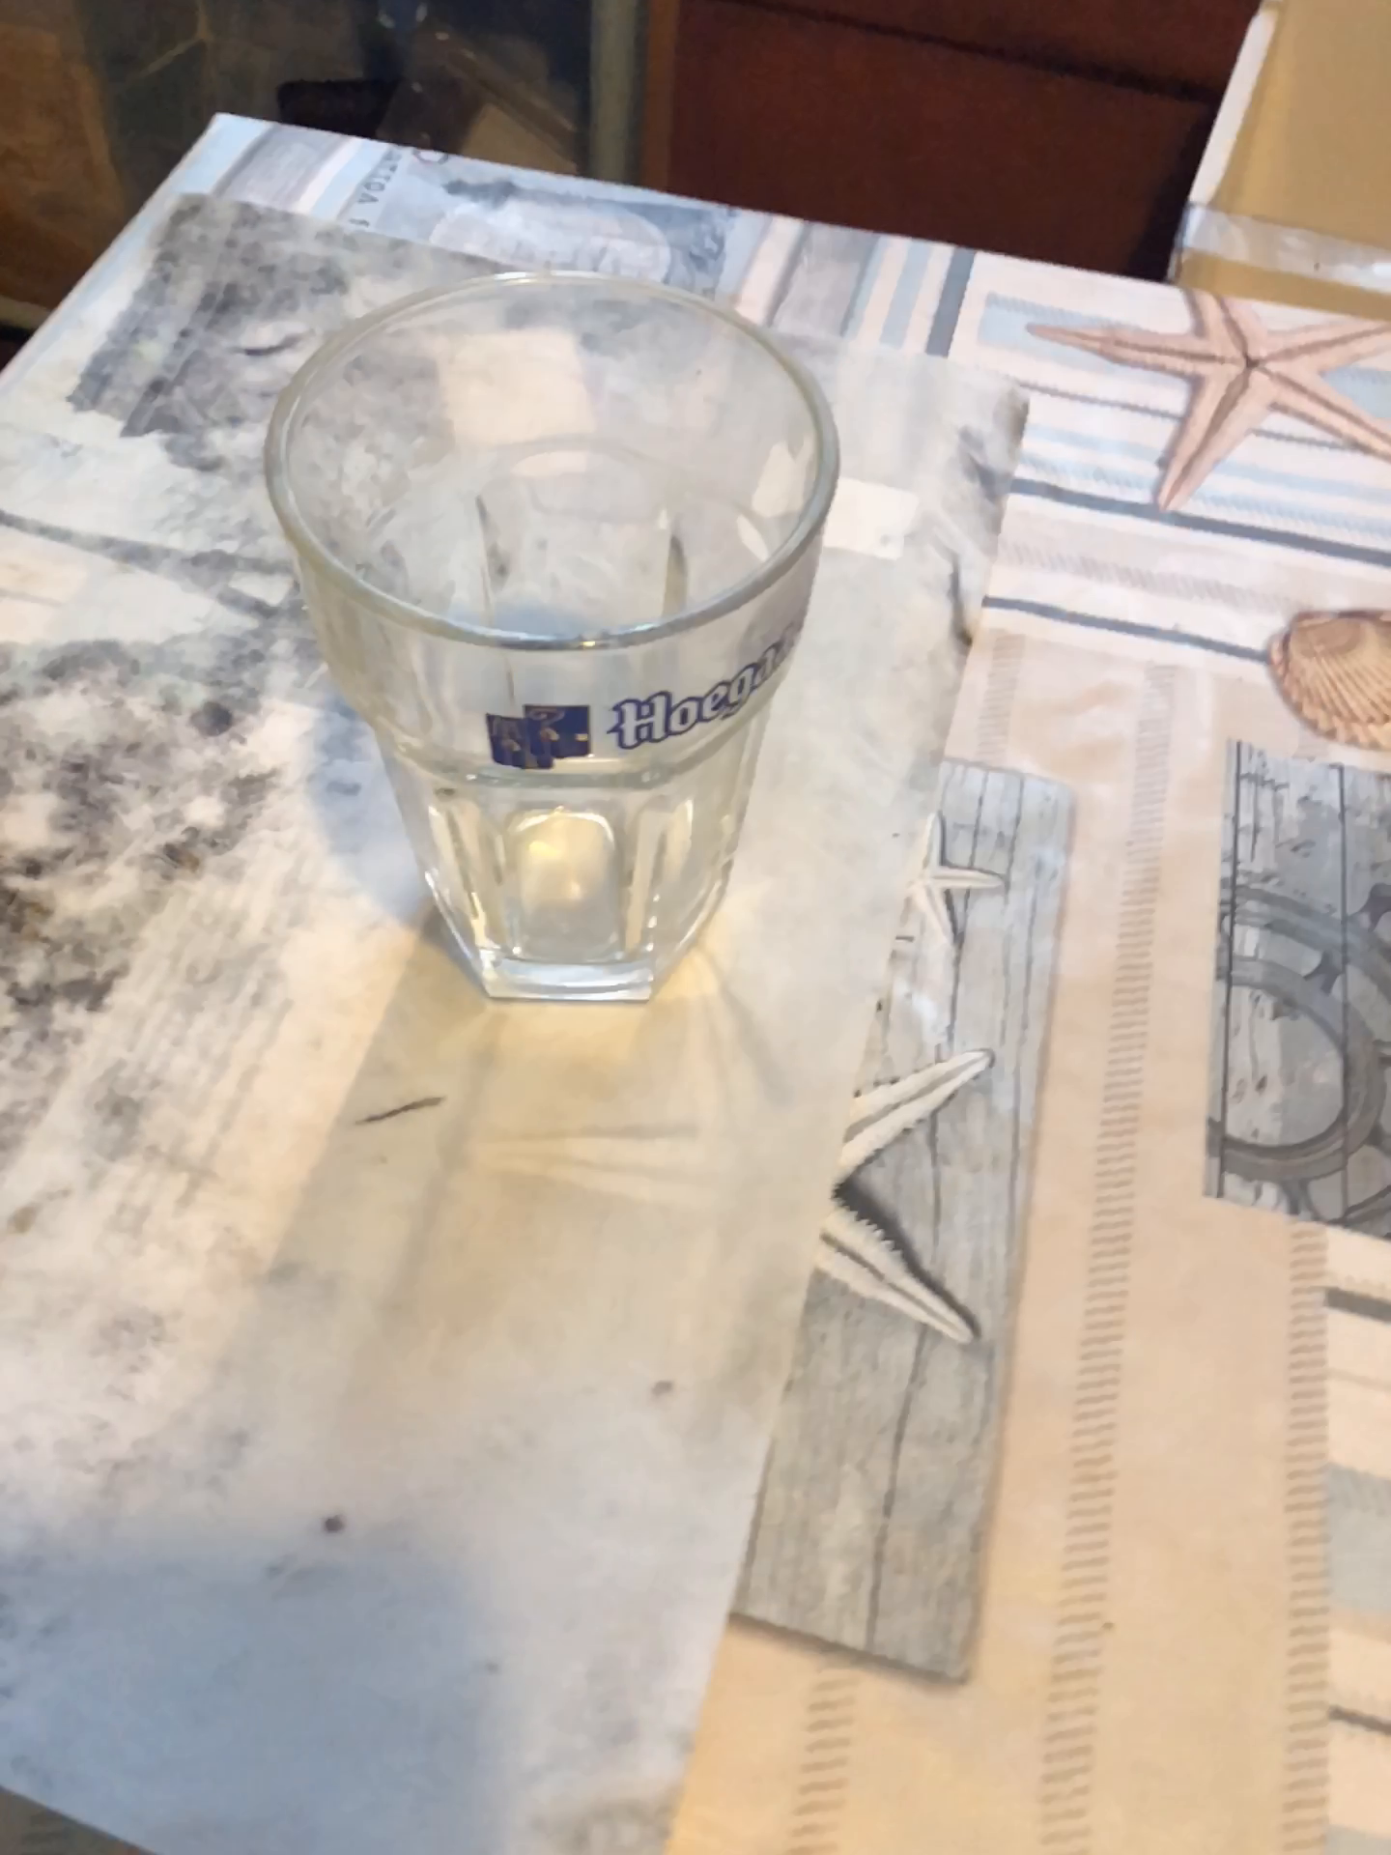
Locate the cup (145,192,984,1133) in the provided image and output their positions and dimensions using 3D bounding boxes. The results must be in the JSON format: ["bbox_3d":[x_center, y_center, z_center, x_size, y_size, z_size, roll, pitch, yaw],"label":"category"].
[{"bbox_3d":[-0.021,-0.048,0.307,0.098,0.123,0.099,0,58,-1],"label":"cup"}]
